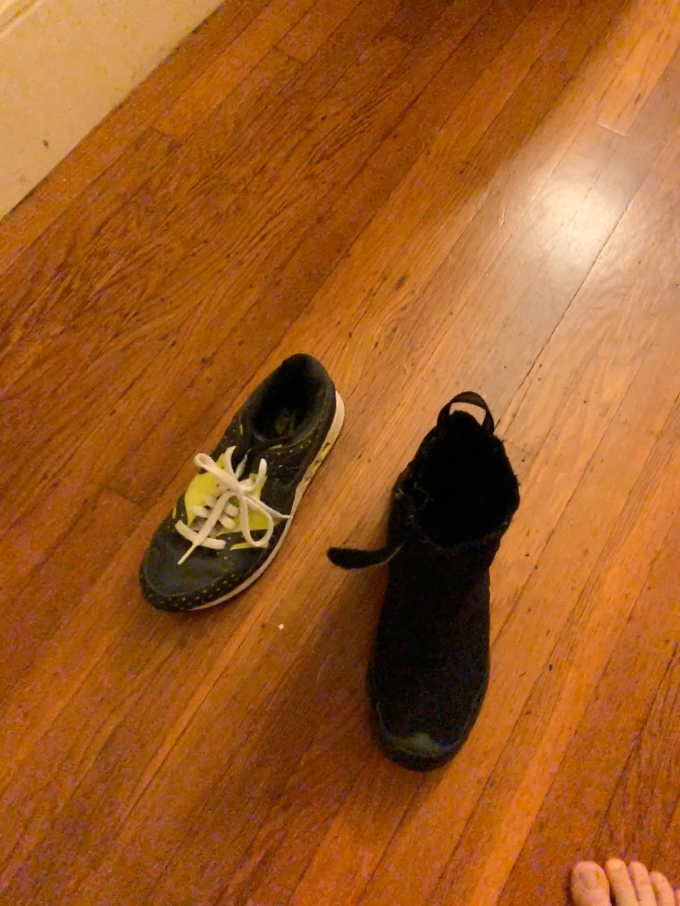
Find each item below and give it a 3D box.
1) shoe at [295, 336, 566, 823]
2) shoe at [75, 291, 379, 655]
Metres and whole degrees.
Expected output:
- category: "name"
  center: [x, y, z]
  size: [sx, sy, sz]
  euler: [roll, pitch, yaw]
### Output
- category: "shoe"
  center: [0.067, 0.108, 0.579]
  size: [0.160, 0.240, 0.310]
  euler: [8, 69, 0]
- category: "shoe"
  center: [-0.087, 0.015, 0.624]
  size: [0.120, 0.100, 0.290]
  euler: [26, 70, 8]
